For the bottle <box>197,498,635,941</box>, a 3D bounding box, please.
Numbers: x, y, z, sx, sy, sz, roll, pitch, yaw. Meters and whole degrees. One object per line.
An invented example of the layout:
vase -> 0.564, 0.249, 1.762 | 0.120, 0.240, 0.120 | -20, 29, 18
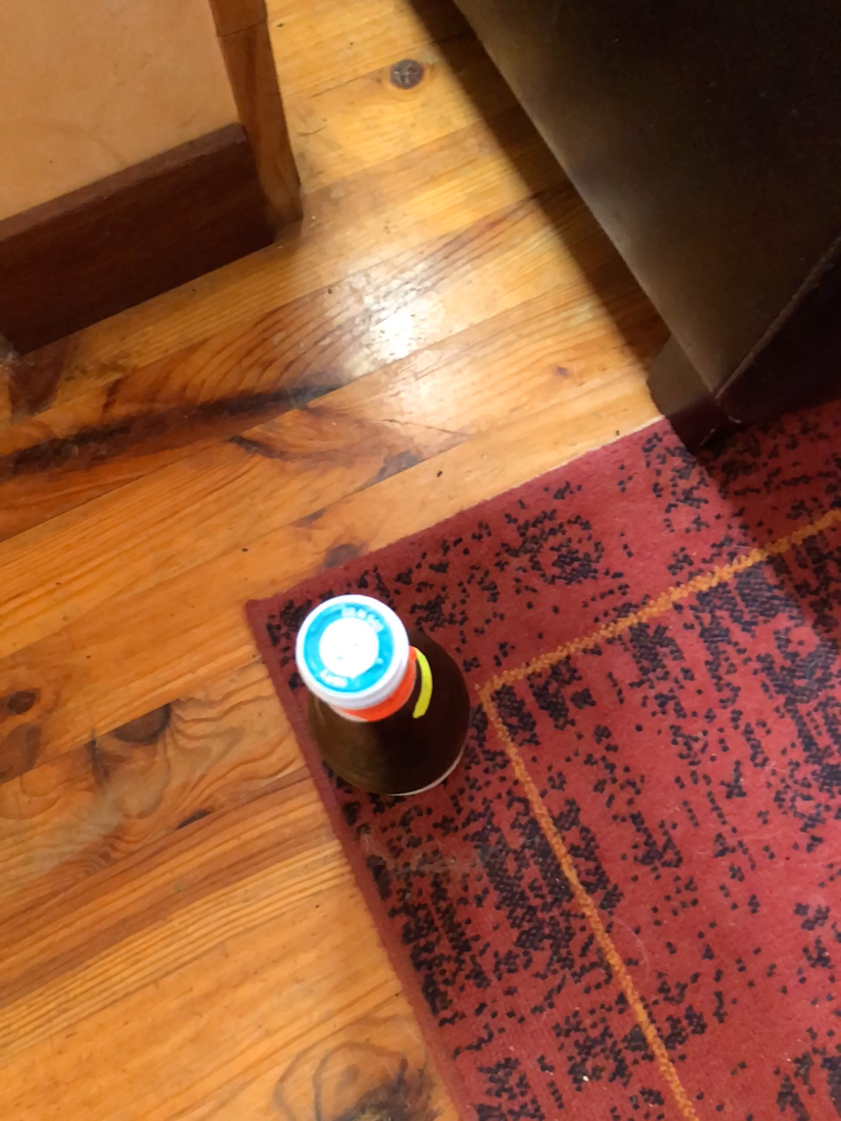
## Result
bottle -> -0.001, 0.068, 0.368 | 0.080, 0.300, 0.080 | 0, 78, -1
